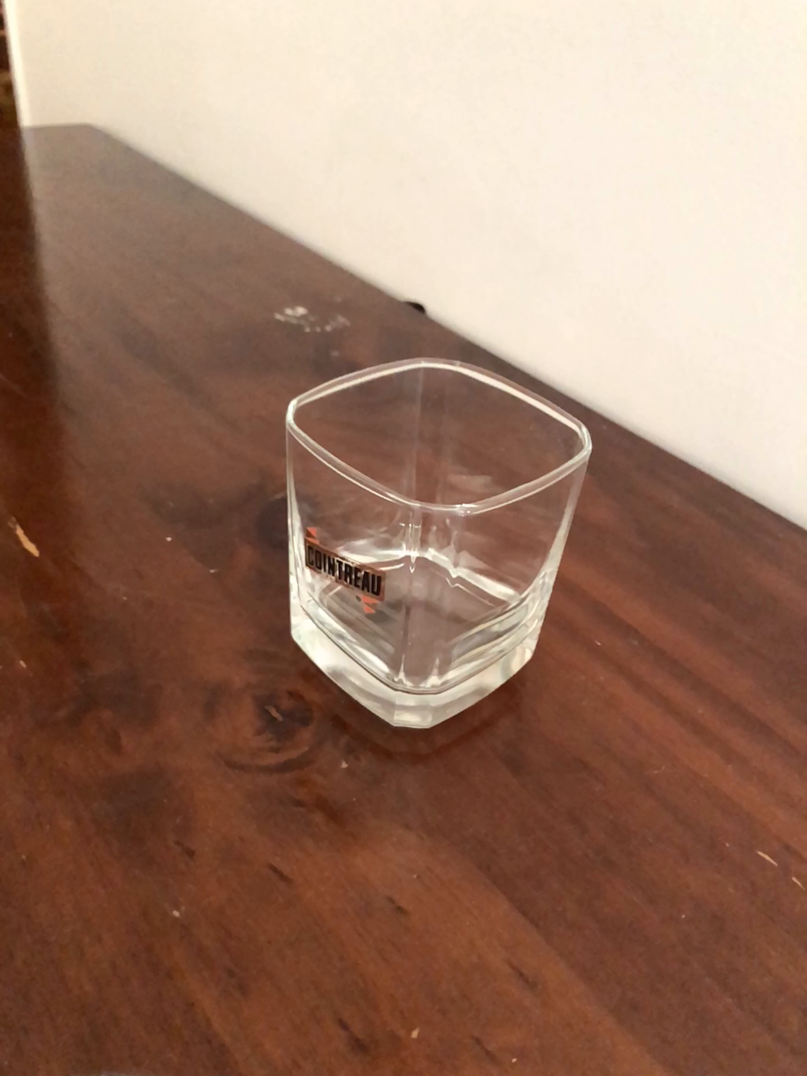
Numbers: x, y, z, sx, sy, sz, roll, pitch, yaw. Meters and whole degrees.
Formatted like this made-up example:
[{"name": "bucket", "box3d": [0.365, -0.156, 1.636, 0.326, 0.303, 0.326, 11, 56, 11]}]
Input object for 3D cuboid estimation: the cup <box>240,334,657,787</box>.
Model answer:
[{"name": "cup", "box3d": [0.009, 0.001, 0.277, 0.081, 0.085, 0.086, 4, 36, -3]}]
